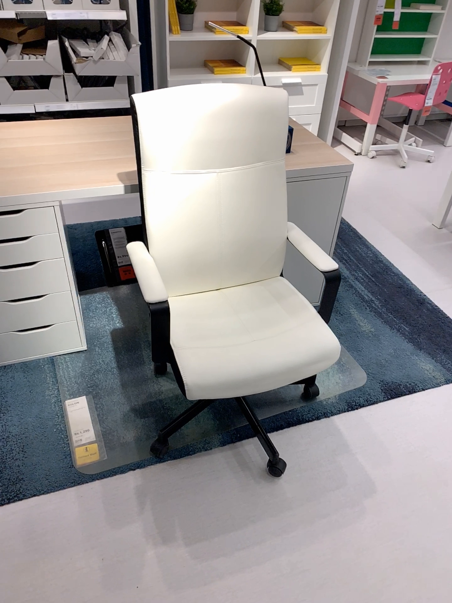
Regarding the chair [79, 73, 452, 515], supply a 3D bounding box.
[{"bbox_3d":[0.035,-0.051,1.340,0.690,0.956,0.703,-10,41,-17],"label":"chair"}]
